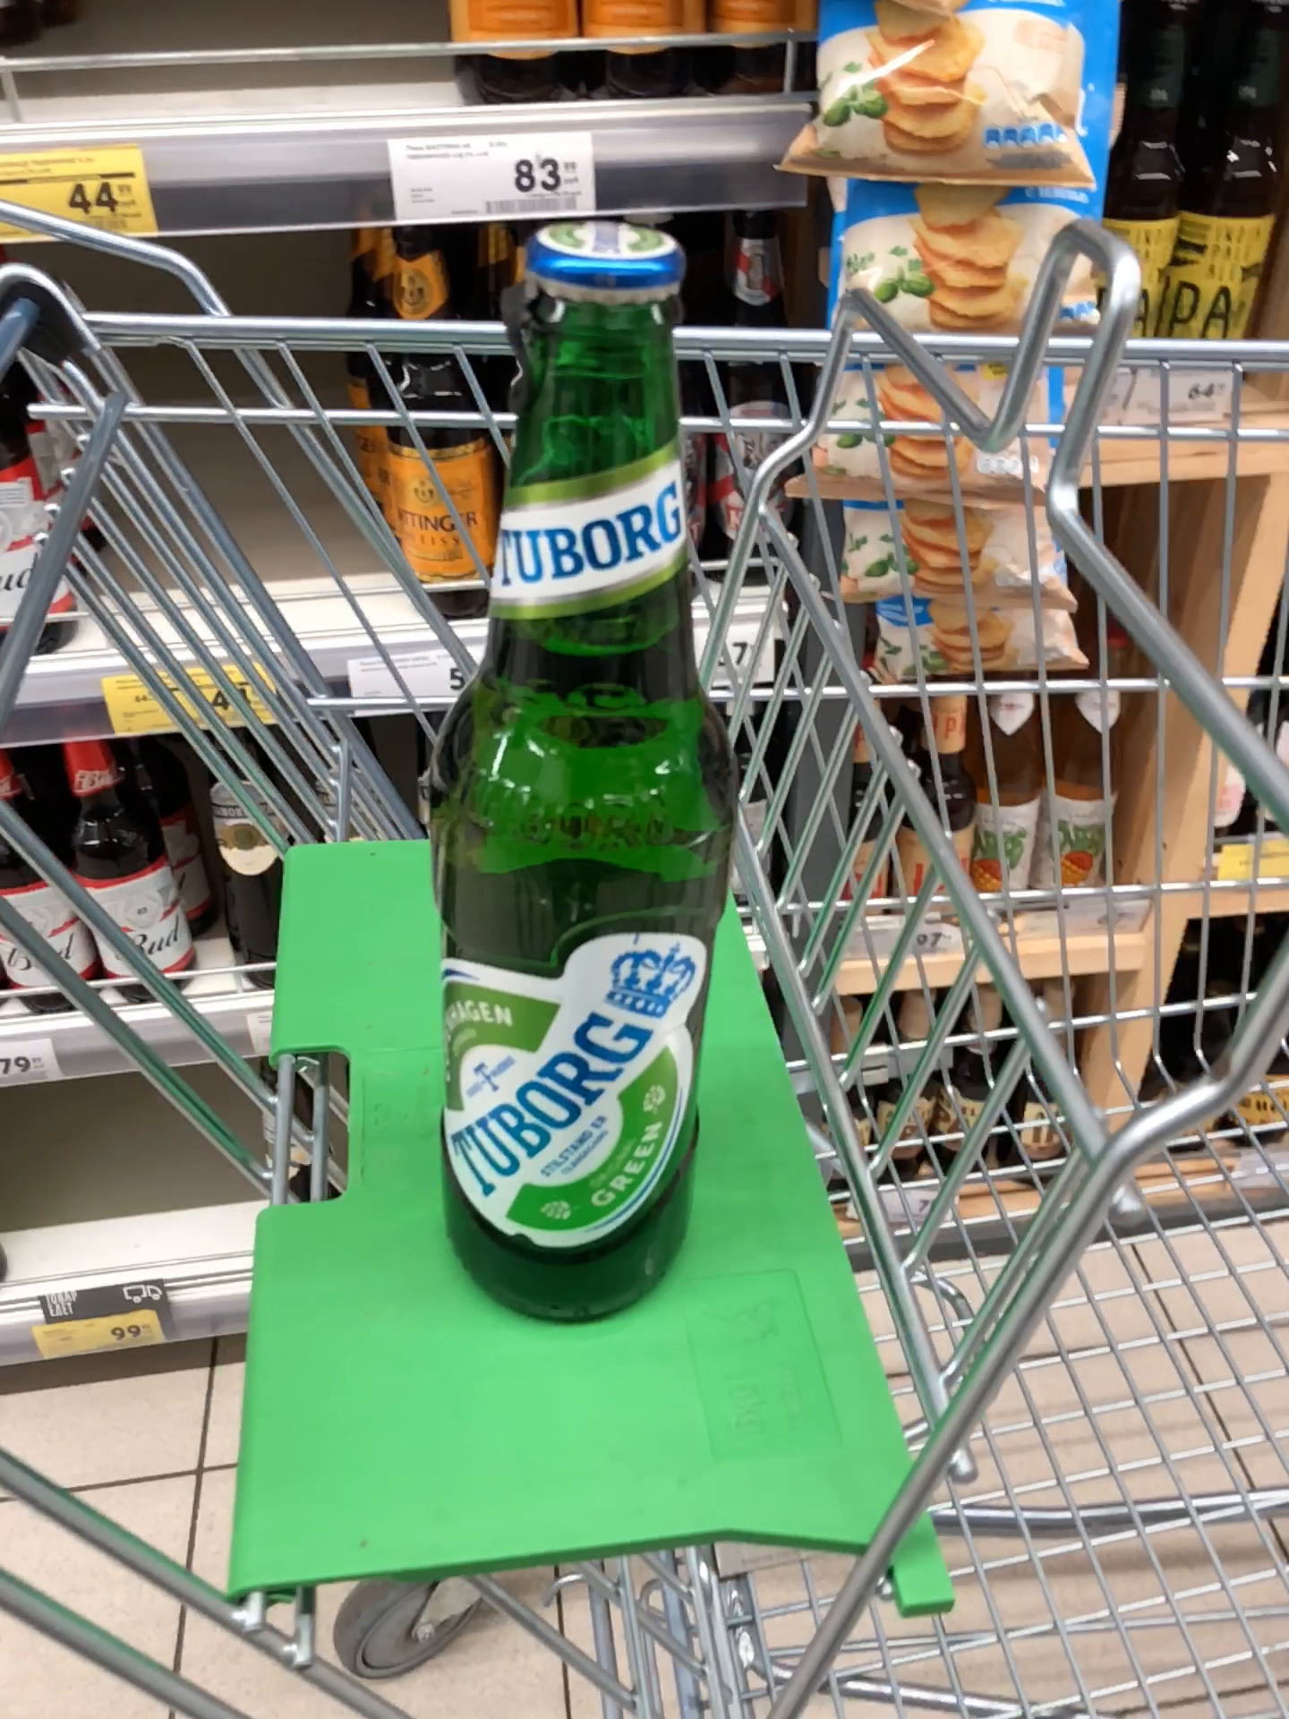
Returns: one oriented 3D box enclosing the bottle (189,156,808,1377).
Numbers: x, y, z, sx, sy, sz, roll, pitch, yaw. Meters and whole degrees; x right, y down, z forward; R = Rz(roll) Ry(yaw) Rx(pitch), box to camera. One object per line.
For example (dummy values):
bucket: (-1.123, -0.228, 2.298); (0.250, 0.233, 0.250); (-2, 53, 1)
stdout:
bottle: (-0.021, -0.001, 0.309); (0.080, 0.258, 0.070); (11, 39, 13)
